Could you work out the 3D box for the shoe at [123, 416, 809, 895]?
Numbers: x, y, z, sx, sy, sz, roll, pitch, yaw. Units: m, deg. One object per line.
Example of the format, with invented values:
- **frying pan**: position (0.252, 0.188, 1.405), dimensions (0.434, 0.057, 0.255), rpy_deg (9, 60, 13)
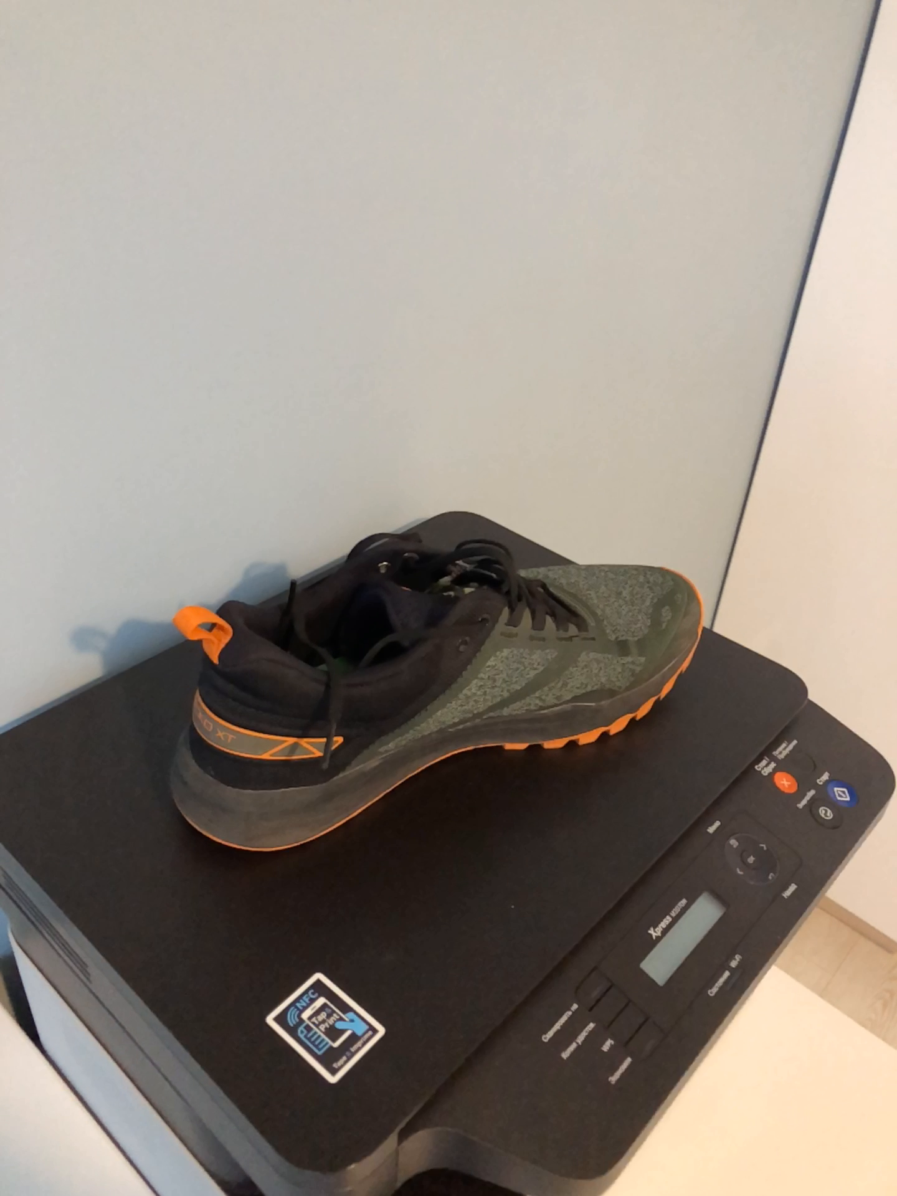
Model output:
- **shoe**: position (0.014, 0.011, 0.501), dimensions (0.311, 0.119, 0.121), rpy_deg (-15, 39, -26)
